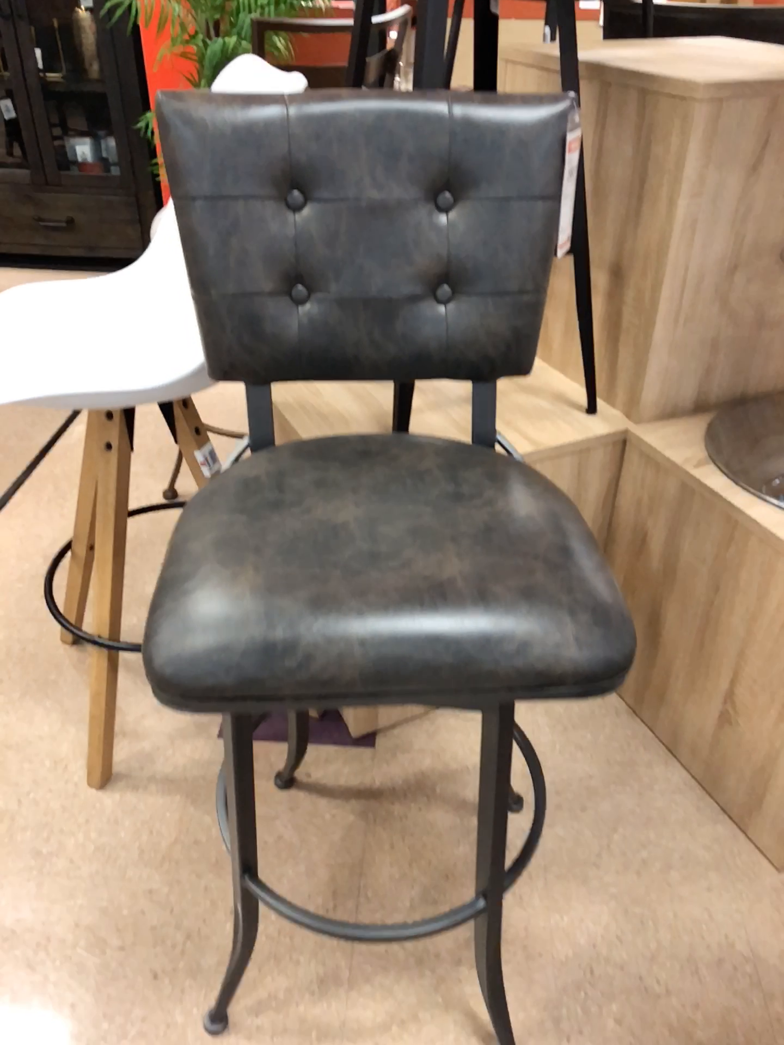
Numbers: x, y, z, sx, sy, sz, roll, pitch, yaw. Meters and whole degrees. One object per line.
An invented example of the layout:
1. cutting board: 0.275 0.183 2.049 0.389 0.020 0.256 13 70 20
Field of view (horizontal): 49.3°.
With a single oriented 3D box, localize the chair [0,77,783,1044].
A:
1. chair: -0.012 0.121 1.034 0.518 1.108 0.514 -1 34 -1
